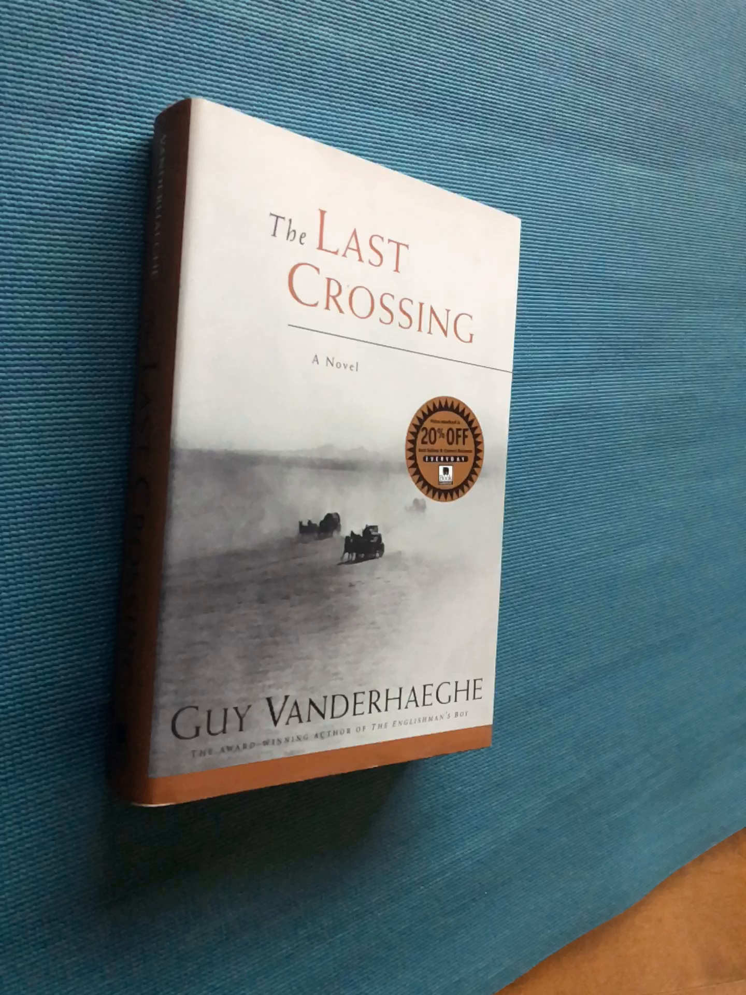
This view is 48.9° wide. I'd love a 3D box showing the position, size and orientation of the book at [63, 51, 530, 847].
[{"bbox_3d":[-0.017,-0.012,0.306,0.171,0.040,0.230,3,88,-39],"label":"book"}]
